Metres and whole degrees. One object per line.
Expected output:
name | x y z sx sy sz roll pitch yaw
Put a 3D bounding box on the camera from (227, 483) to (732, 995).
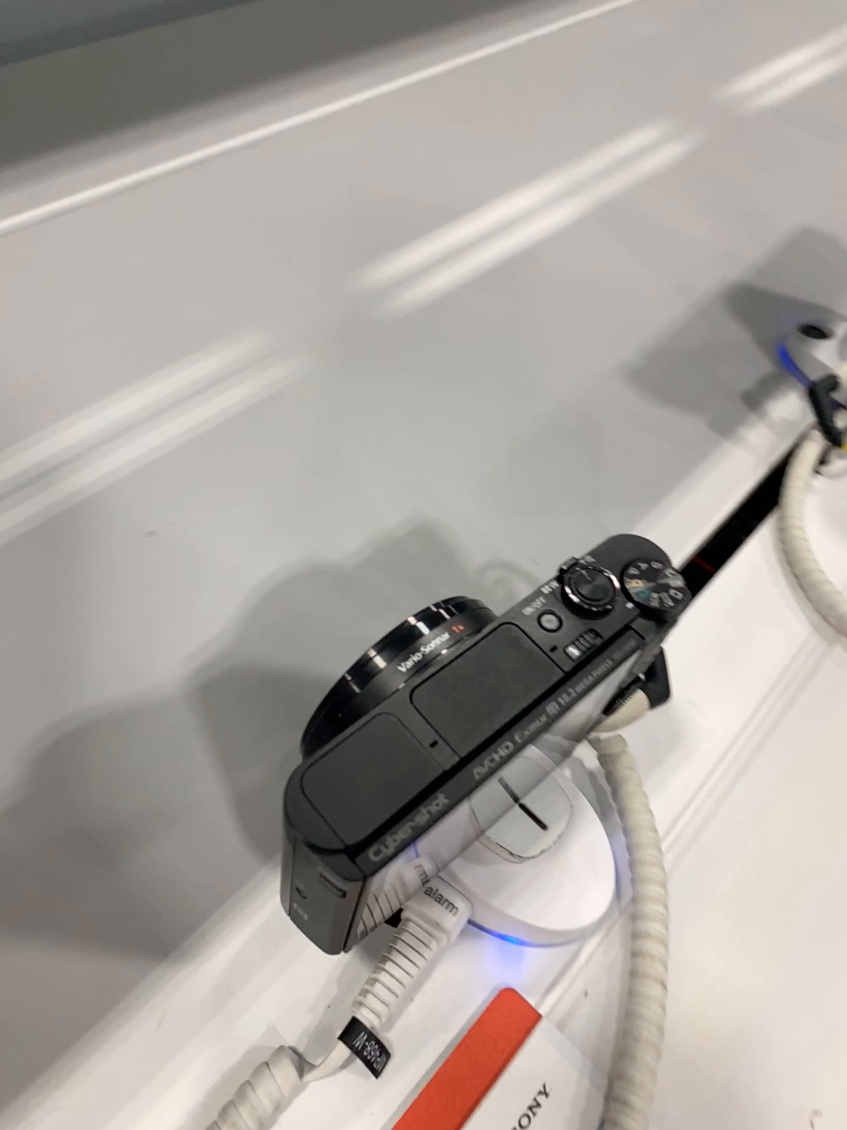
camera | 0.012 0.034 0.193 0.104 0.052 0.040 -34 66 -31
